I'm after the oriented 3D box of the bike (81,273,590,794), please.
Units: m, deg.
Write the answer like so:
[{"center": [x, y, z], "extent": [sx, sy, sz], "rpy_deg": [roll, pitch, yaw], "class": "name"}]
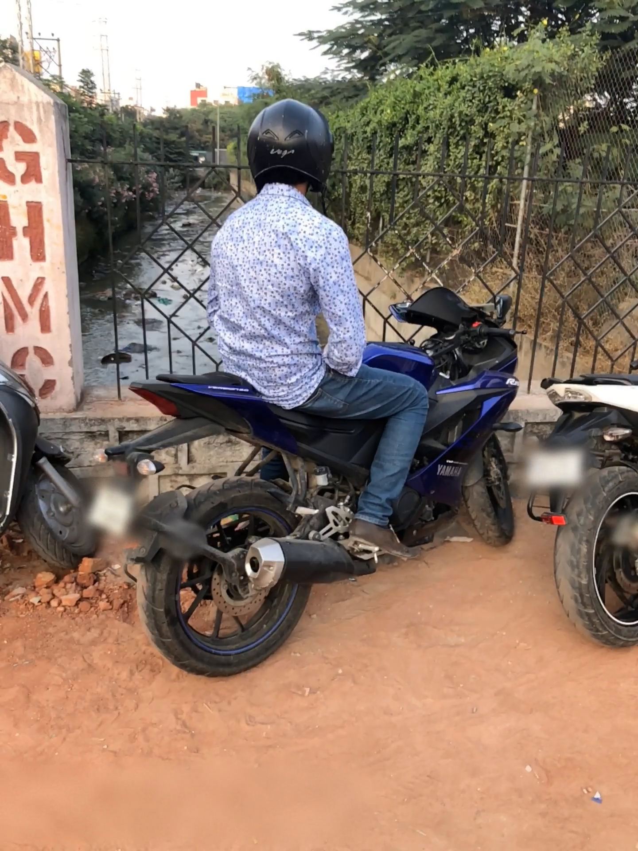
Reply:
[{"center": [0.208, 0.115, 2.579], "extent": [0.732, 0.995, 1.951], "rpy_deg": [18, 27, 36], "class": "bike"}]
